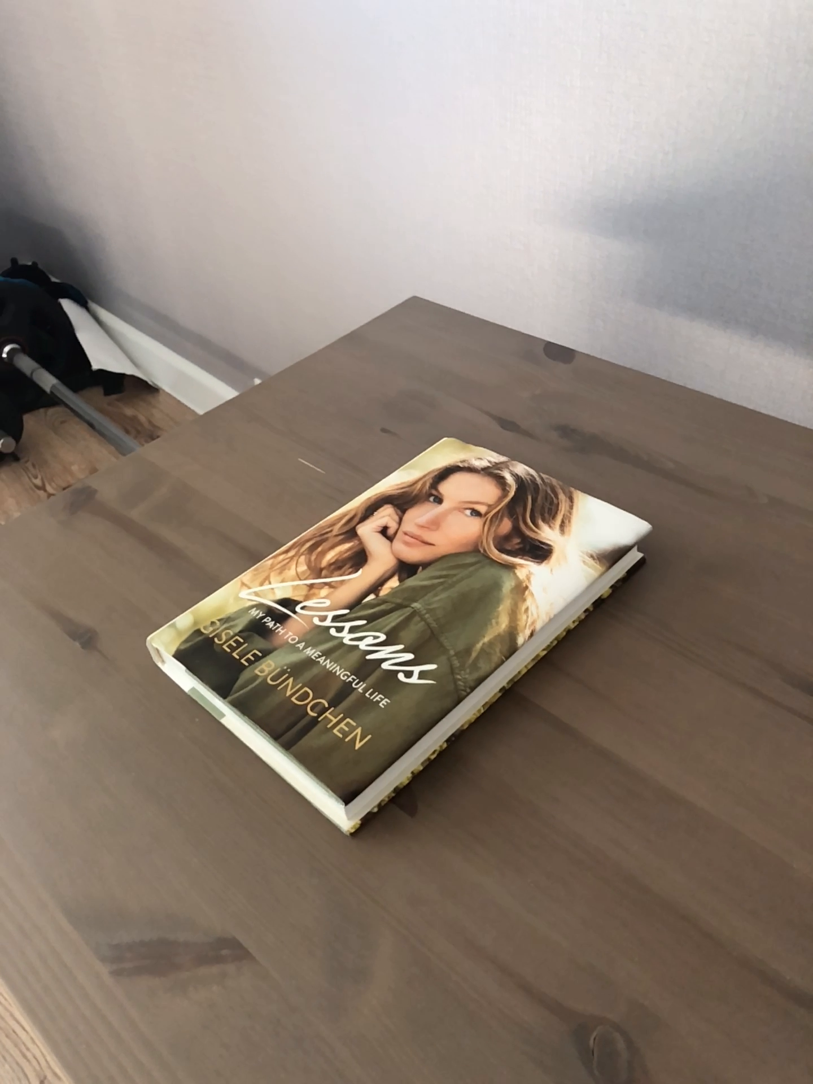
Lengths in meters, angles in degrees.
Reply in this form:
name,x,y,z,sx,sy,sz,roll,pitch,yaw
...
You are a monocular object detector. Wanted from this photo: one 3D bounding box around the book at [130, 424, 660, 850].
name,x,y,z,sx,sy,sz,roll,pitch,yaw
book,-0.001,0.028,0.473,0.160,0.030,0.227,30,52,35
